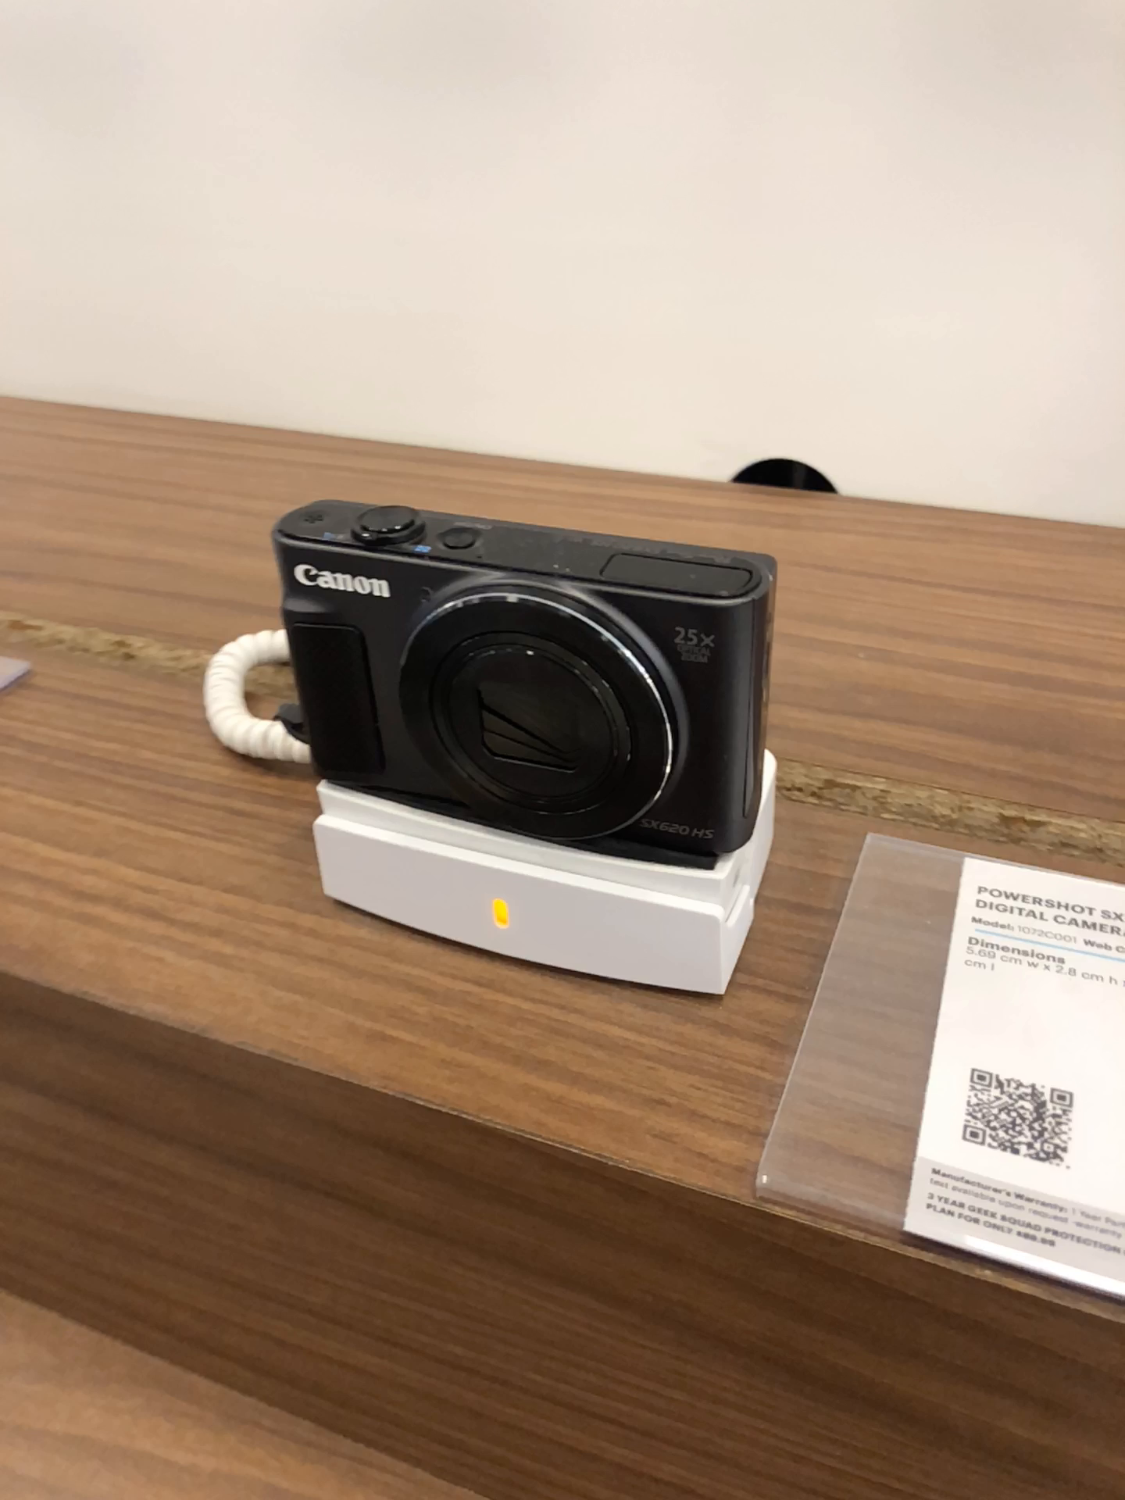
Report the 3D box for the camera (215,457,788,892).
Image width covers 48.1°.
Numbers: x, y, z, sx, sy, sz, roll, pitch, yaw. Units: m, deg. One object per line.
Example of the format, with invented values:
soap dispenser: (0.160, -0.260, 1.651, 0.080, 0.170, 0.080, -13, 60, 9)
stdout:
camera: (-0.012, -0.017, 0.243, 0.100, 0.060, 0.030, 12, 35, 20)
